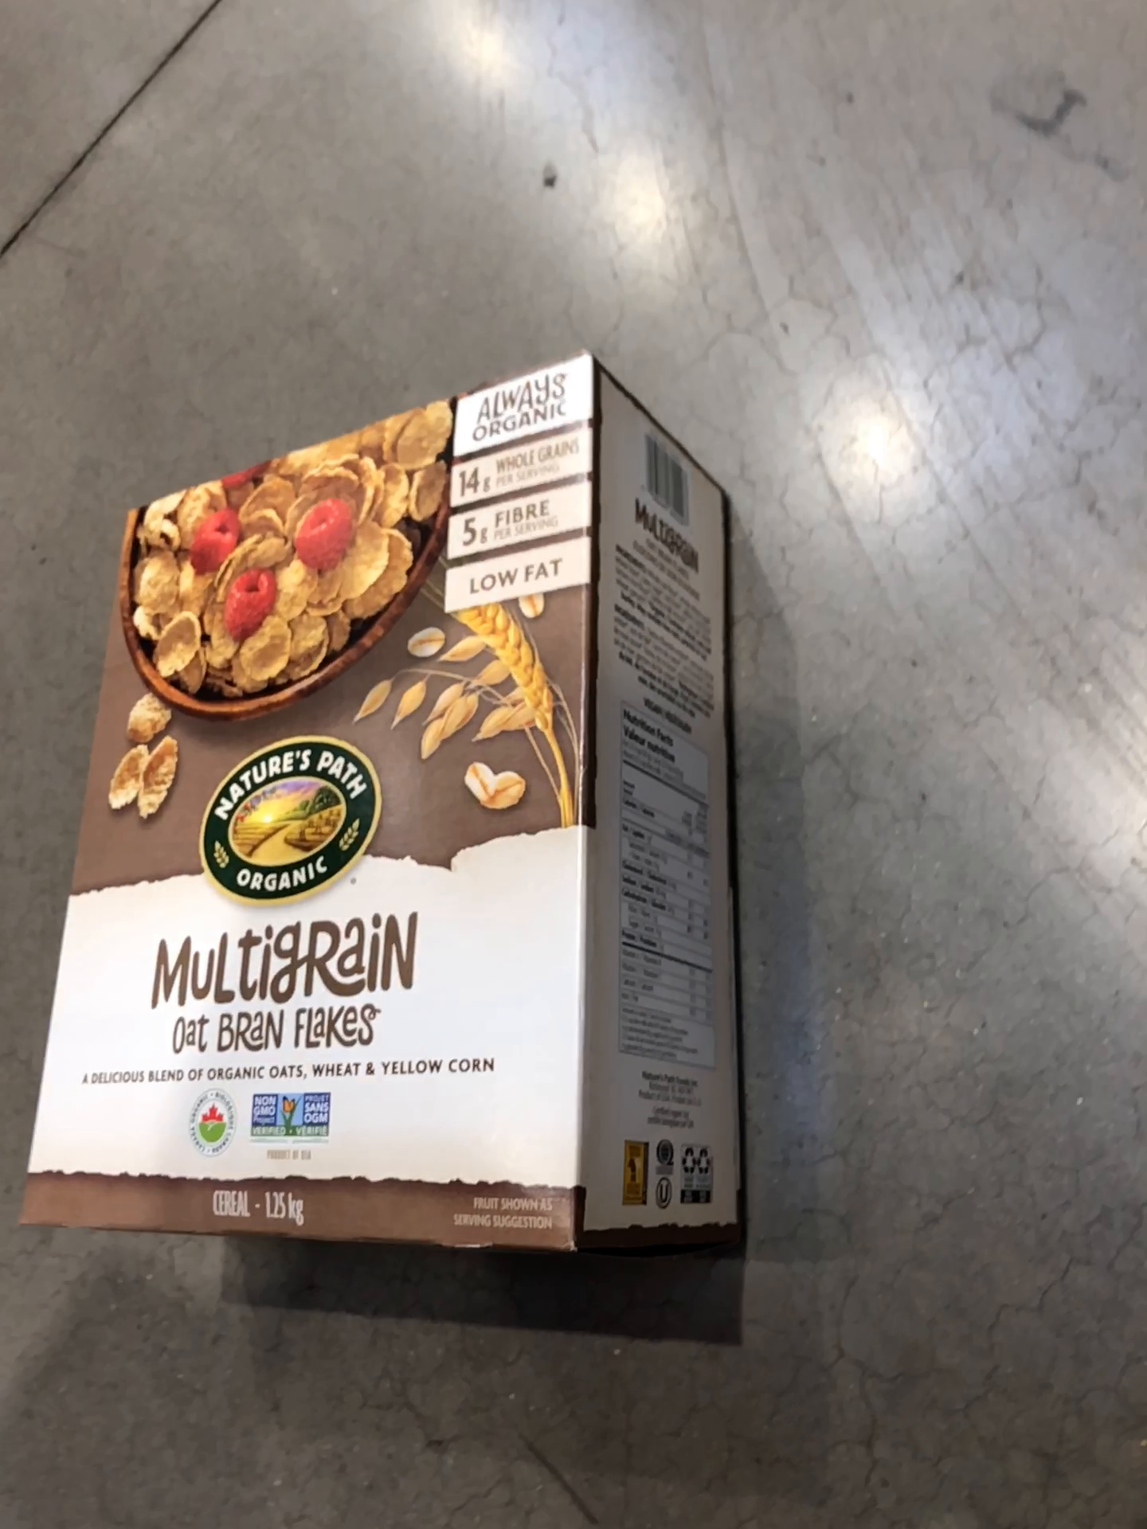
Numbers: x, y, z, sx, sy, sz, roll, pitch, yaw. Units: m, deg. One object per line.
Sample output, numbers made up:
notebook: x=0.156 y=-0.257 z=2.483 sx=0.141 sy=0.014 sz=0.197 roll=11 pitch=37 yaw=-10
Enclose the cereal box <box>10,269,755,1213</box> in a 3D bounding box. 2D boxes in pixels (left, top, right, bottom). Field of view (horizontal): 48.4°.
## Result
cereal box: x=-0.069 y=0.009 z=0.496 sx=0.241 sy=0.110 sz=0.310 roll=-11 pitch=67 yaw=29
